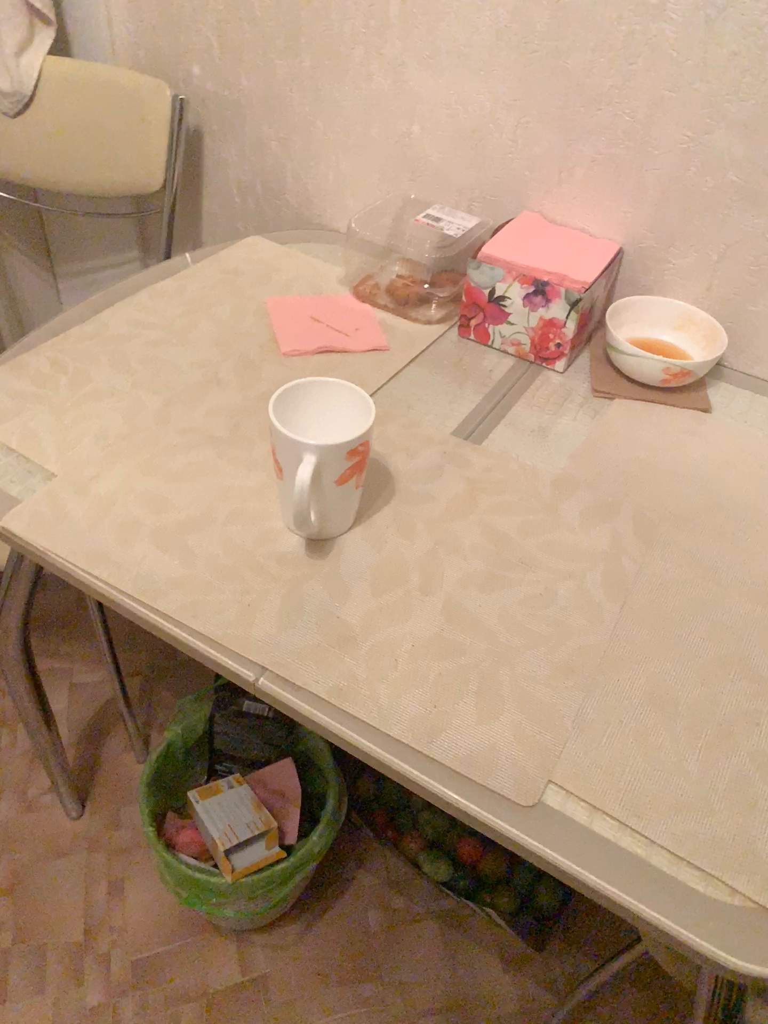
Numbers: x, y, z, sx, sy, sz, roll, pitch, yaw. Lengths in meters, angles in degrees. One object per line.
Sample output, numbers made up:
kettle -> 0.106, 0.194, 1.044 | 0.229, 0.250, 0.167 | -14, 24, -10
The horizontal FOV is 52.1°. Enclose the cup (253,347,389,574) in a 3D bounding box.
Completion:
cup -> -0.044, -0.039, 0.583 | 0.080, 0.109, 0.121 | 5, 43, 0
